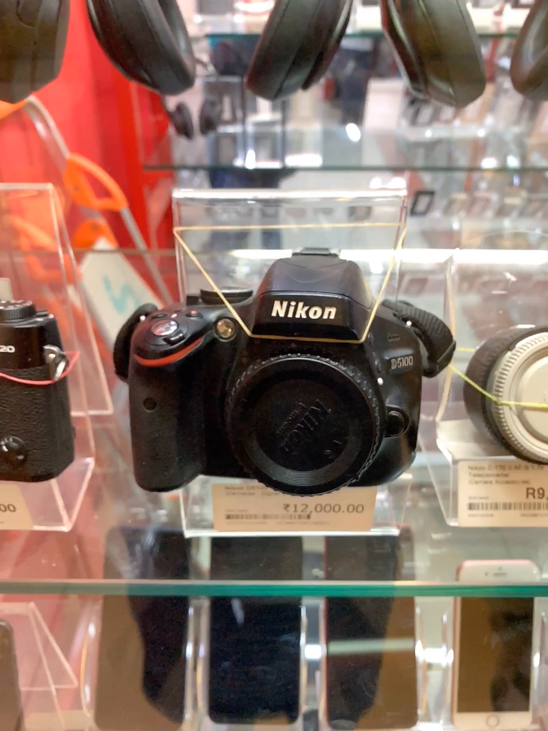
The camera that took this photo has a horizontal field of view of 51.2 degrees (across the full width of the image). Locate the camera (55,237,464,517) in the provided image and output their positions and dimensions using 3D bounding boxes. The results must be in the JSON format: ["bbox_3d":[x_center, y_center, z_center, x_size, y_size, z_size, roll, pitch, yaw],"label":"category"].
[{"bbox_3d":[-0.004,0.004,0.236,0.130,0.090,0.070,1,35,1],"label":"camera"}]
